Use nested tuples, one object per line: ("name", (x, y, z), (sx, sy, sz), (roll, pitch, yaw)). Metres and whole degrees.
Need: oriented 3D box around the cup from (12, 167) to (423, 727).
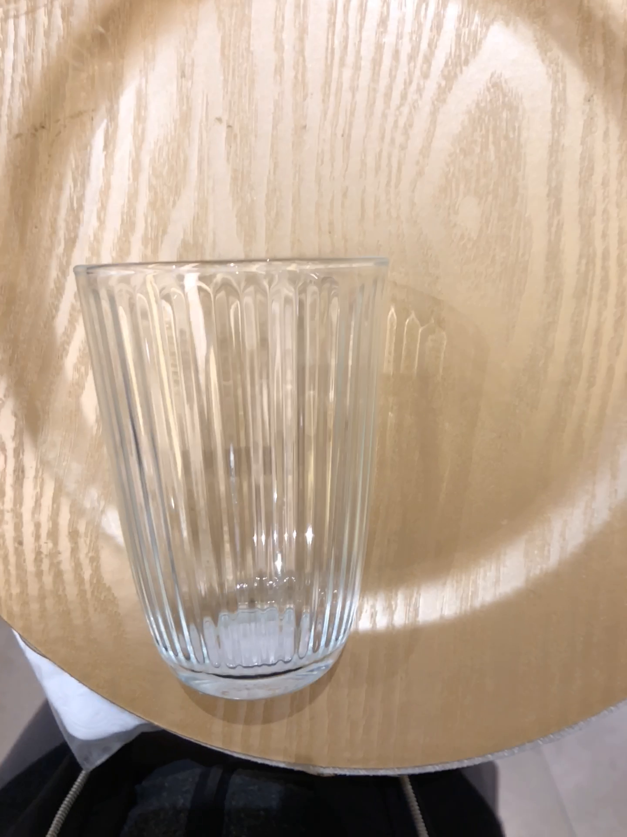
("cup", (-0.019, 0.007, 0.200), (0.090, 0.070, 0.130), (-2, 97, 5))
